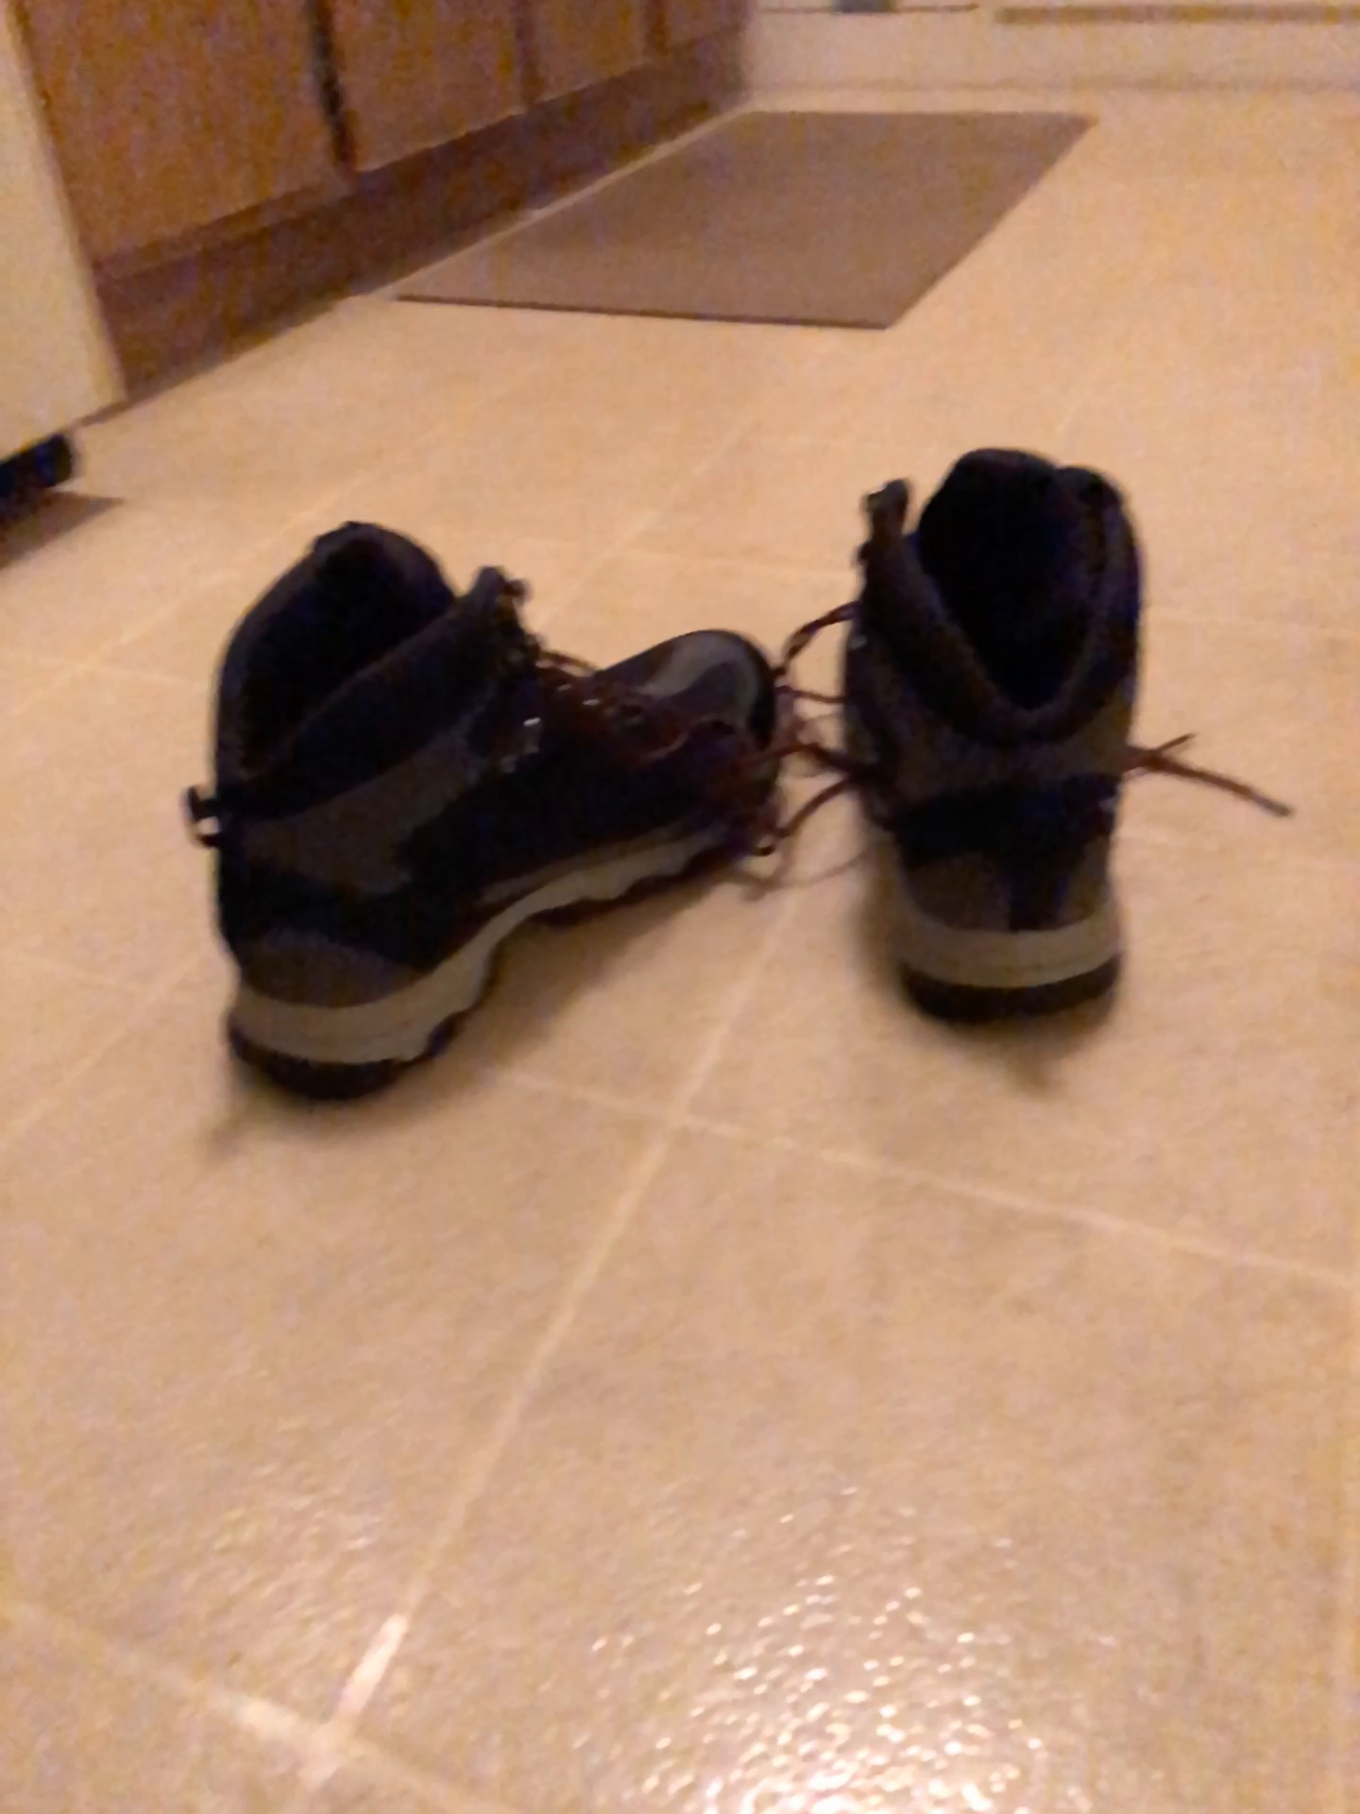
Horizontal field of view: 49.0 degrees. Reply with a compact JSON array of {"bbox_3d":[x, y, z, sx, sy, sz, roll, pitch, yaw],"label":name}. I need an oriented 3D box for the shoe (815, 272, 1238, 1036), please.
[{"bbox_3d":[0.119,-0.121,0.621,0.116,0.195,0.301,-1,36,4],"label":"shoe"}]

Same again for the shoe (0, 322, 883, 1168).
[{"bbox_3d":[-0.068,-0.083,0.588,0.126,0.195,0.310,27,46,36],"label":"shoe"}]
